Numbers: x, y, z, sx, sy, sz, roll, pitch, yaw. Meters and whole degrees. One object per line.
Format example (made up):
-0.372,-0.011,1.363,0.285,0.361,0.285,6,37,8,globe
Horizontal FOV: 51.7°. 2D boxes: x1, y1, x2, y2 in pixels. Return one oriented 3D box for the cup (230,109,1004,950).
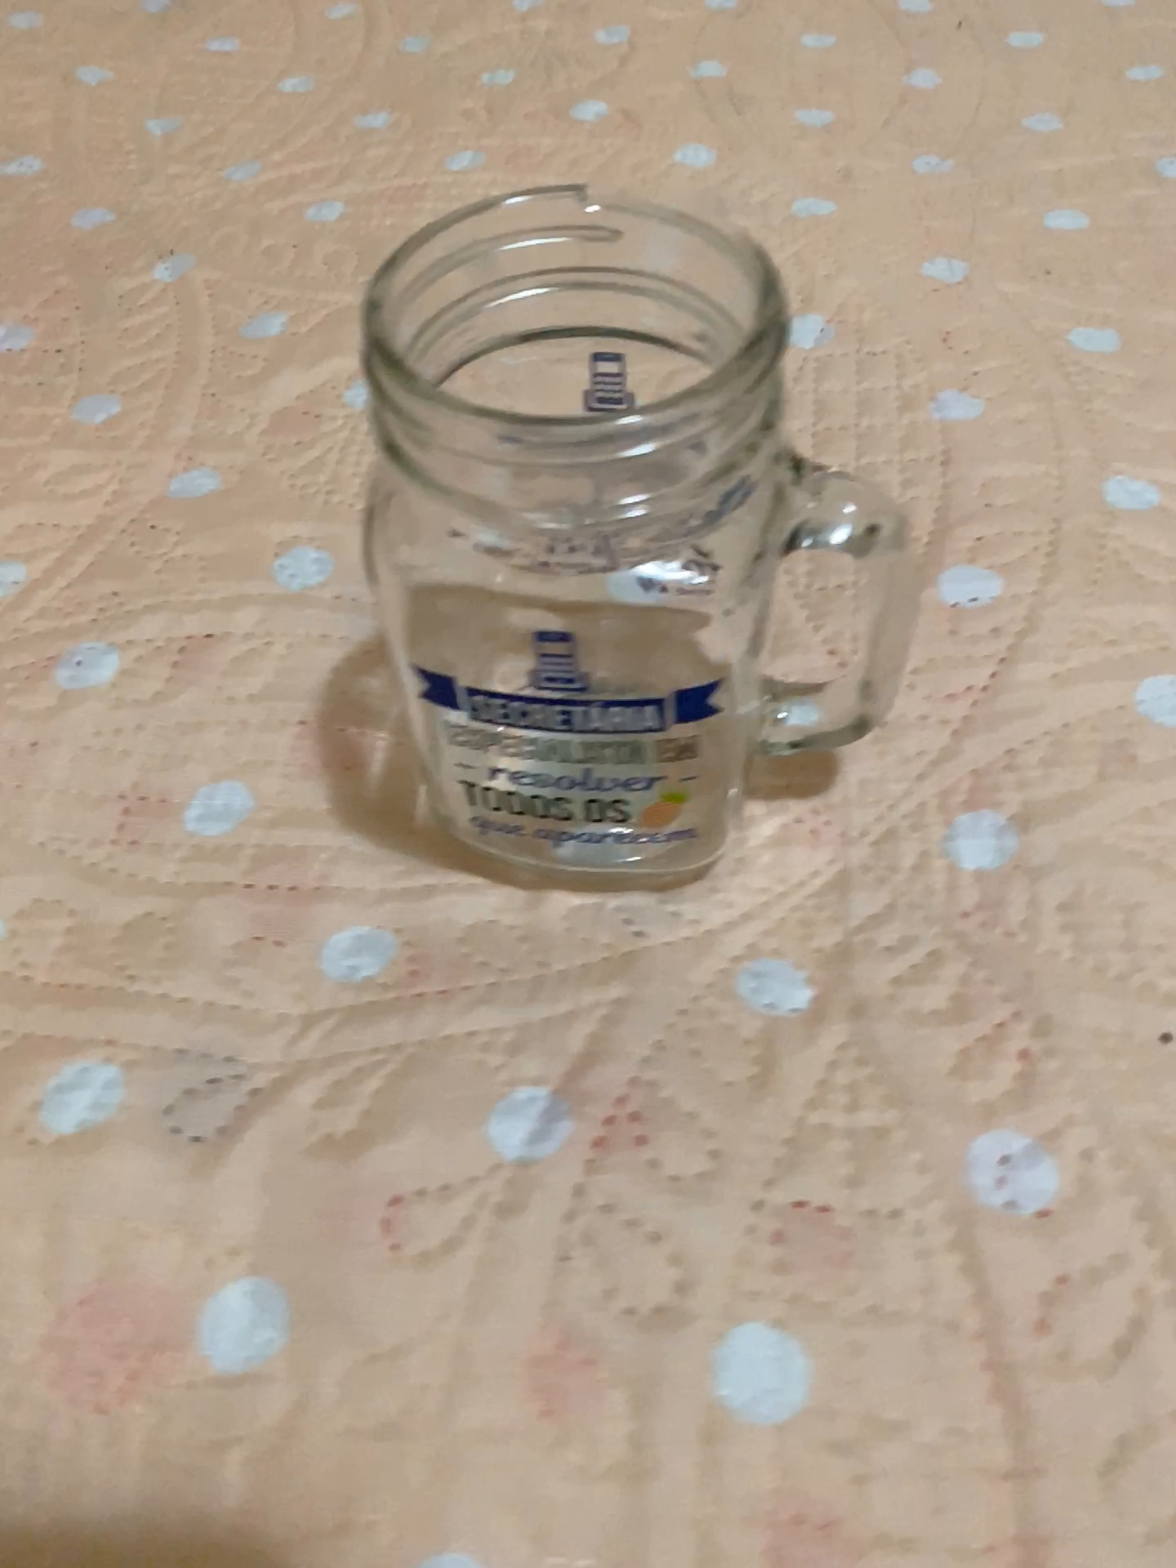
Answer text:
0.012,-0.042,0.225,0.100,0.119,0.080,8,52,10,cup
